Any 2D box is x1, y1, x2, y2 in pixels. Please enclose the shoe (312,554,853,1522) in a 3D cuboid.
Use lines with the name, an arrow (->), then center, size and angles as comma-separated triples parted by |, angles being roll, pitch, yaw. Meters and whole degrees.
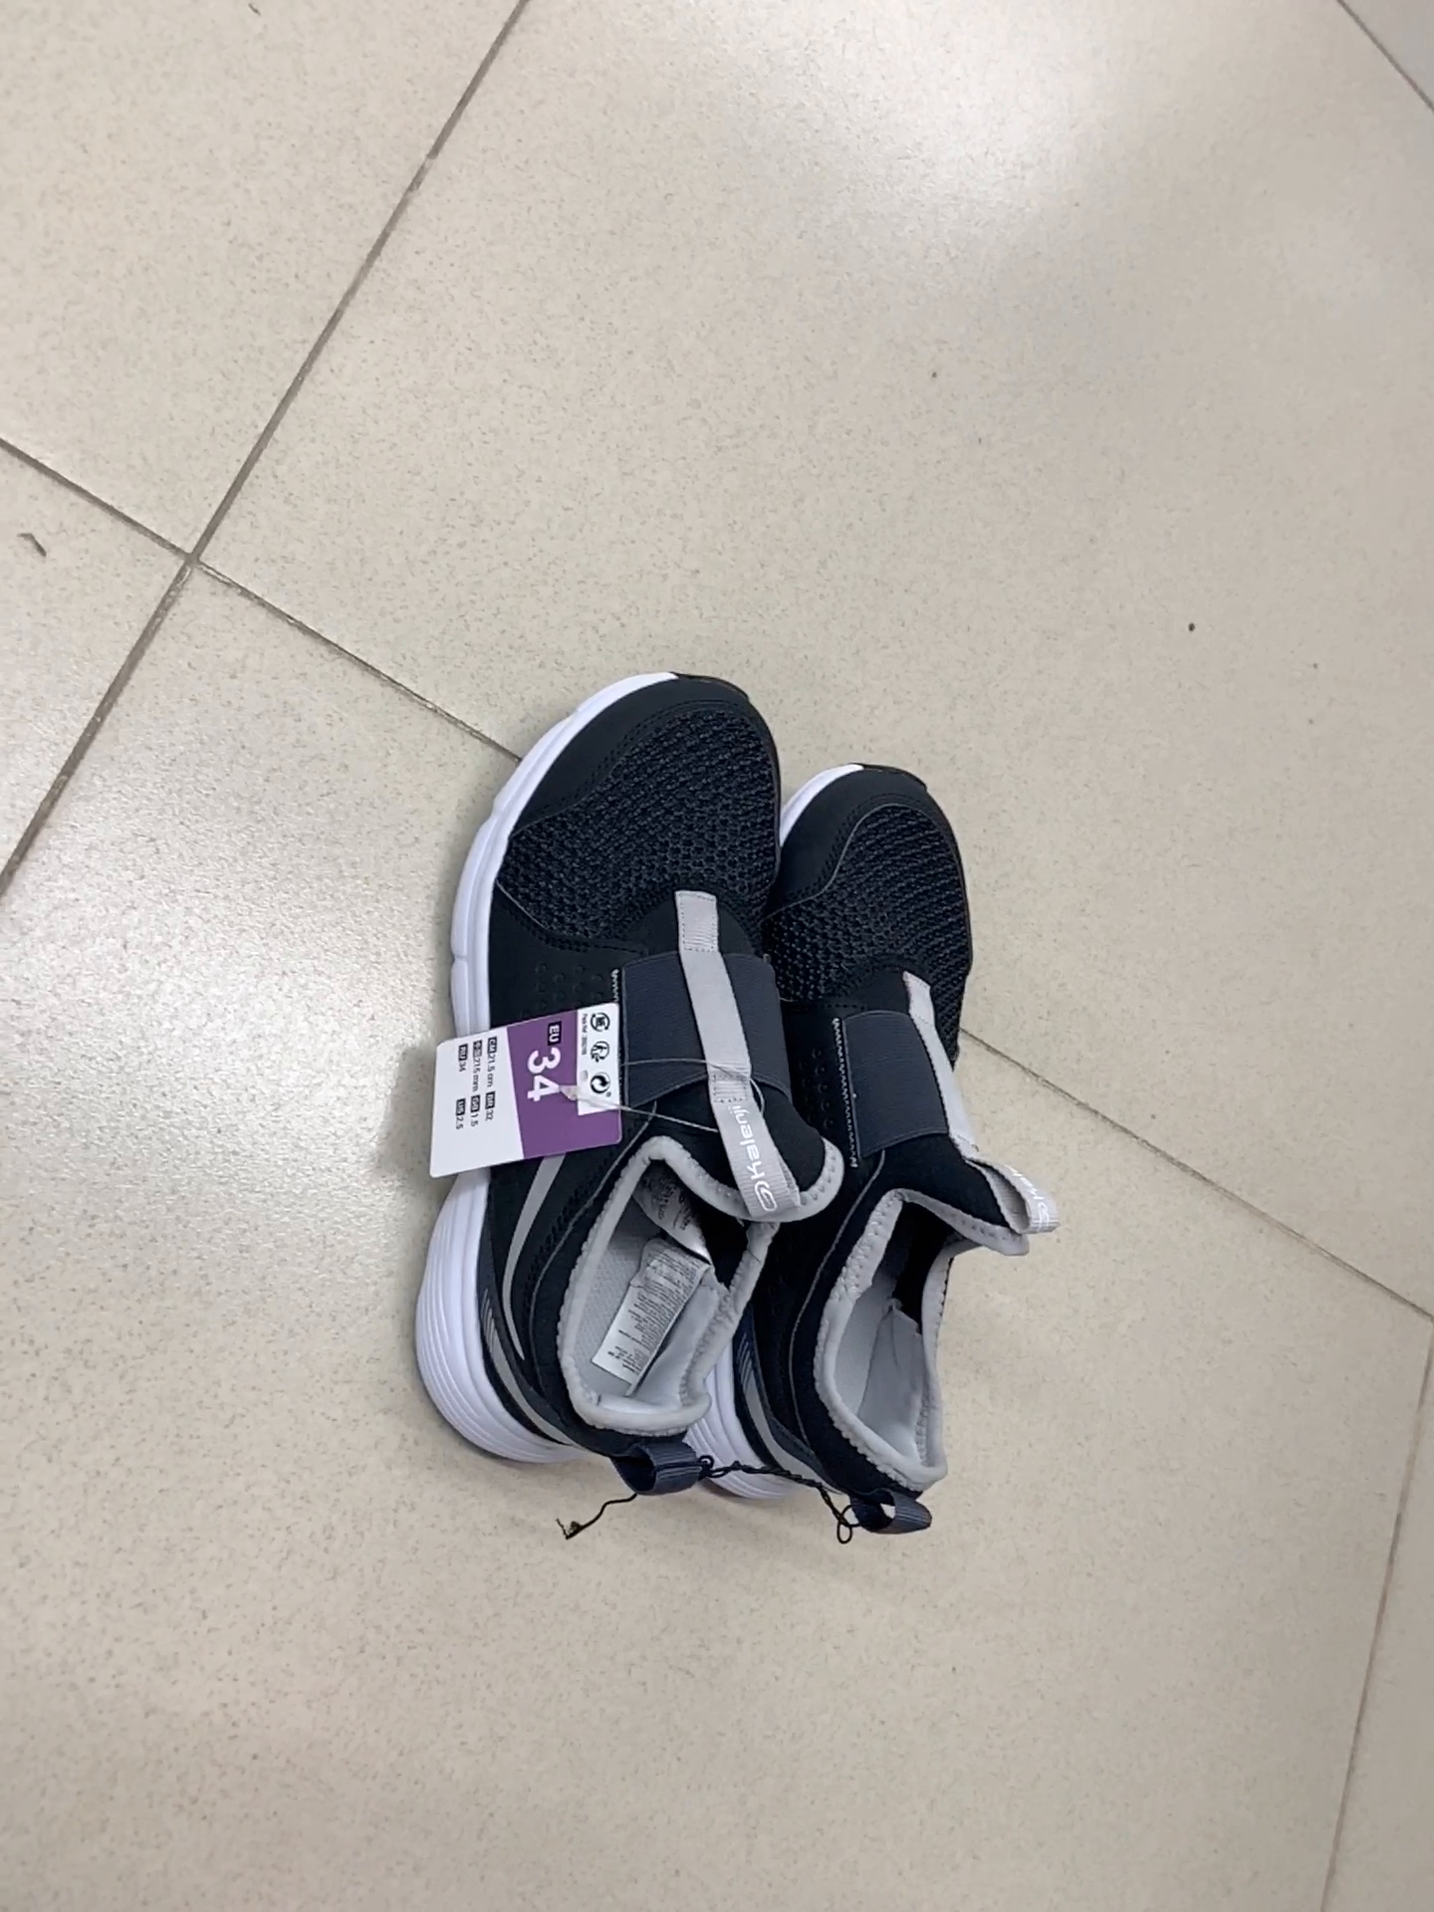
shoe -> -0.037, 0.025, 0.434 | 0.090, 0.080, 0.250 | 17, 75, -27

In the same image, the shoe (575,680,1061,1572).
shoe -> 0.035, 0.053, 0.470 | 0.090, 0.080, 0.250 | 17, 75, -27
